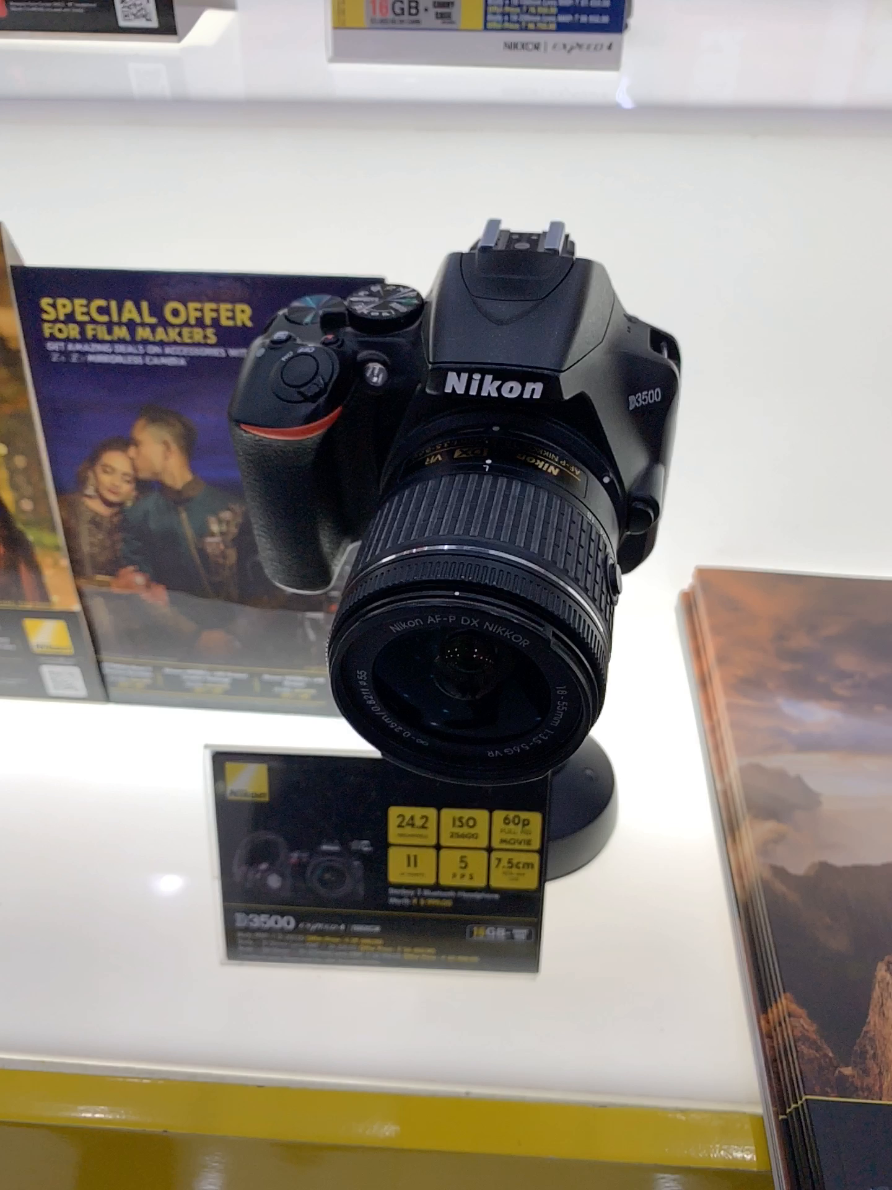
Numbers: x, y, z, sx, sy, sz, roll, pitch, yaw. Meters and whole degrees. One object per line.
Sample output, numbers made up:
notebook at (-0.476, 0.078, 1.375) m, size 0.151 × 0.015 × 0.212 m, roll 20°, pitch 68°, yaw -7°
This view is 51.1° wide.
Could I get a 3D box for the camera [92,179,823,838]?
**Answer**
camera at (0.010, -0.034, 0.218) m, size 0.110 × 0.070 × 0.150 m, roll 5°, pitch 42°, yaw 7°
